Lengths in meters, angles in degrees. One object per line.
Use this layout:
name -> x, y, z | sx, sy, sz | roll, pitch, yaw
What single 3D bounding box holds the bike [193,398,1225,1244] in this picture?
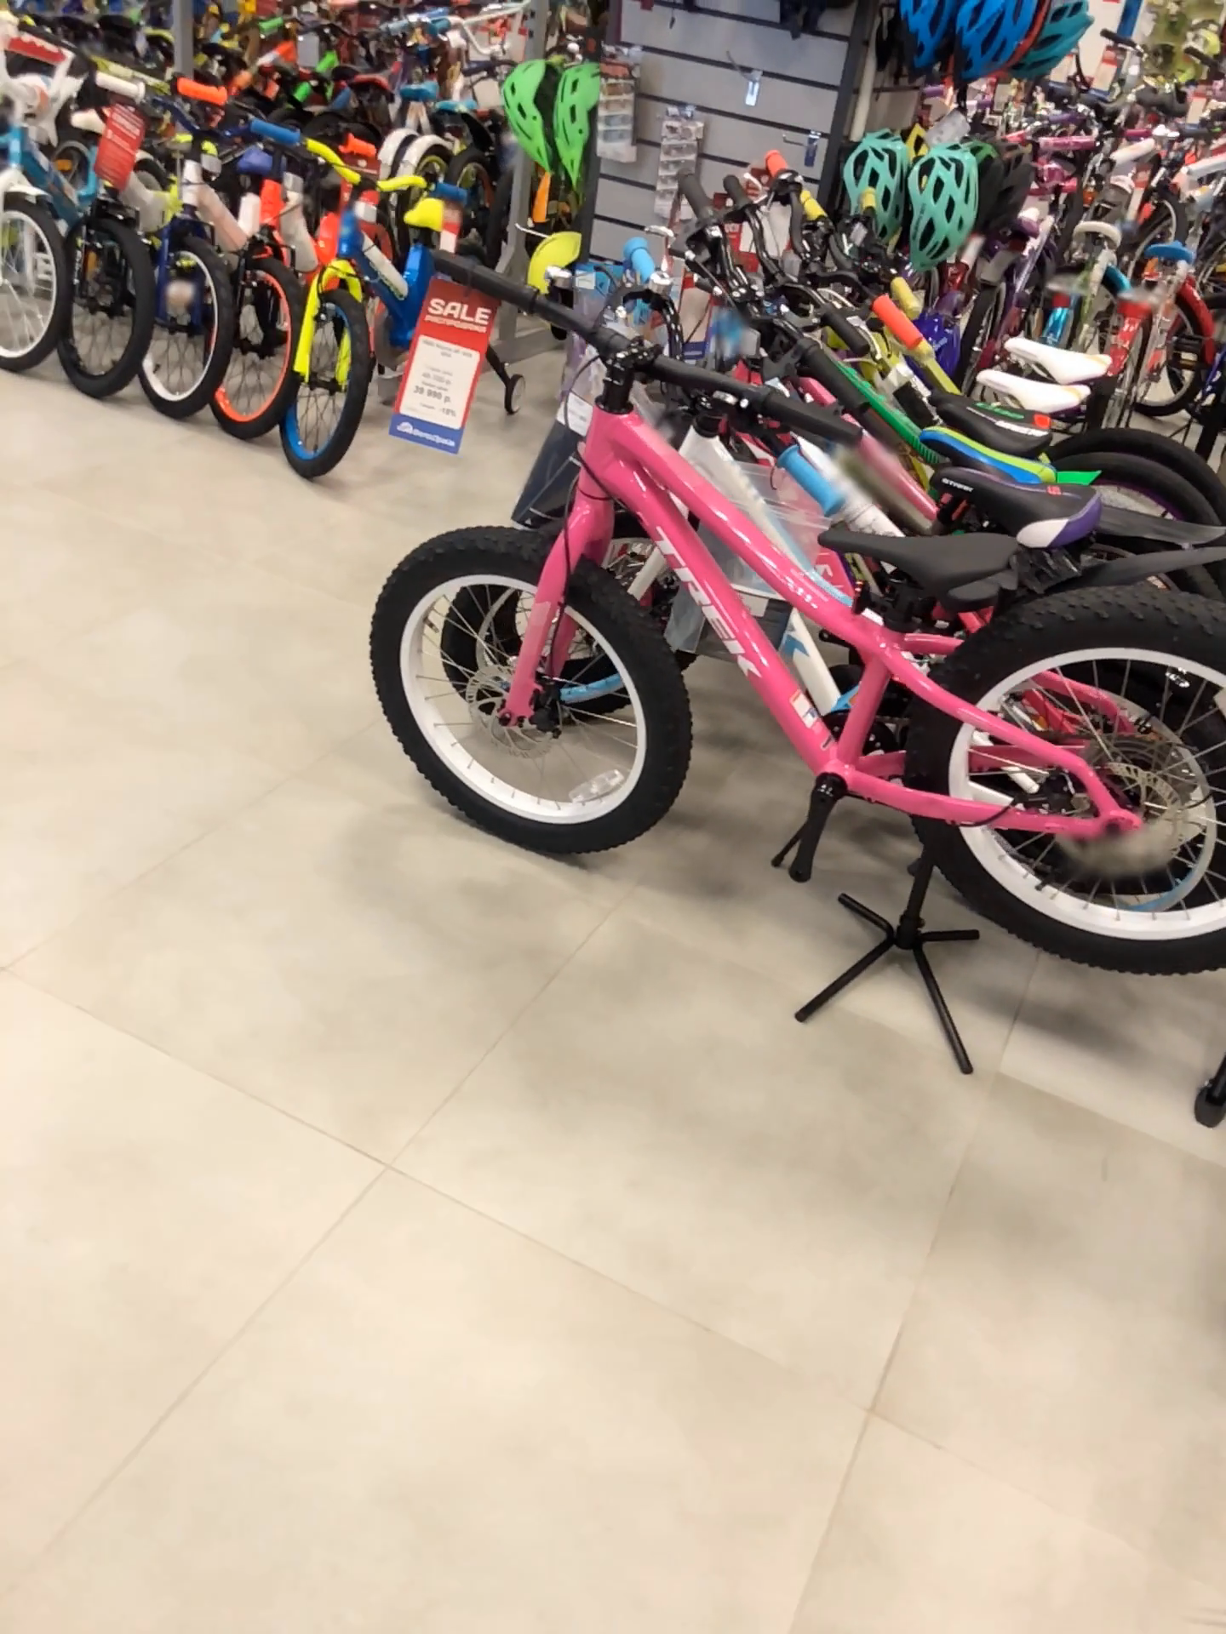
bike -> 0.208, -0.089, 1.697 | 1.334, 0.668, 0.573 | 16, 31, 23
